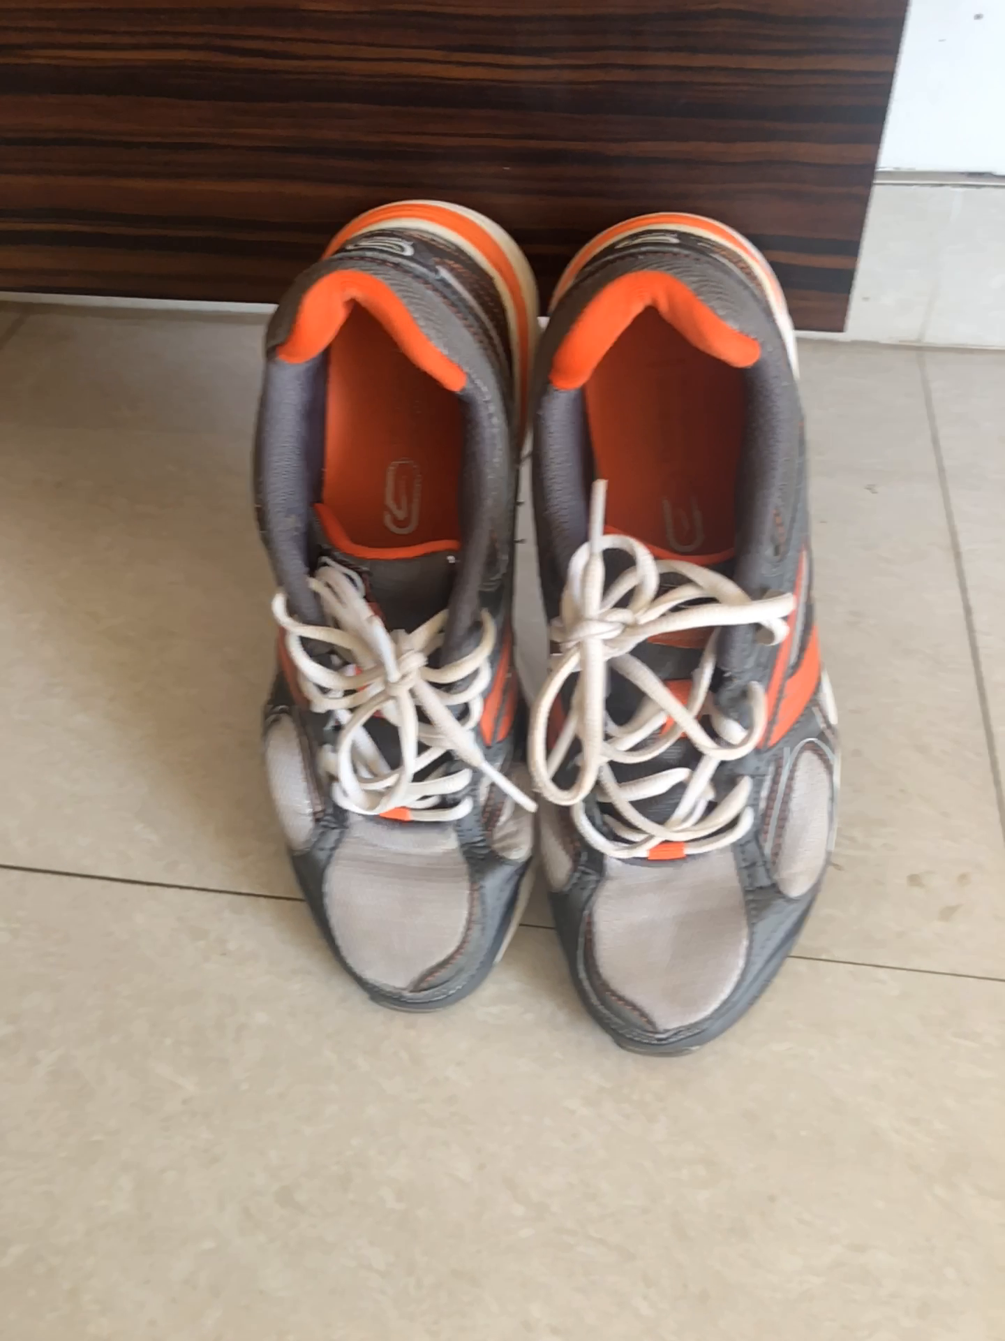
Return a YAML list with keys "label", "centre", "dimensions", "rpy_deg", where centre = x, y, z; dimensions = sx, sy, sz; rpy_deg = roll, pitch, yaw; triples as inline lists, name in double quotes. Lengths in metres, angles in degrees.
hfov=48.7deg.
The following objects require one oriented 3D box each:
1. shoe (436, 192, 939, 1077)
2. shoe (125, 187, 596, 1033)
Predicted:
- label: "shoe"
  centre: [0.056, -0.014, 0.366]
  dimensions: [0.120, 0.259, 0.110]
  rpy_deg: [2, 22, 10]
- label: "shoe"
  centre: [-0.033, -0.017, 0.381]
  dimensions: [0.120, 0.269, 0.100]
  rpy_deg: [0, 24, 3]
